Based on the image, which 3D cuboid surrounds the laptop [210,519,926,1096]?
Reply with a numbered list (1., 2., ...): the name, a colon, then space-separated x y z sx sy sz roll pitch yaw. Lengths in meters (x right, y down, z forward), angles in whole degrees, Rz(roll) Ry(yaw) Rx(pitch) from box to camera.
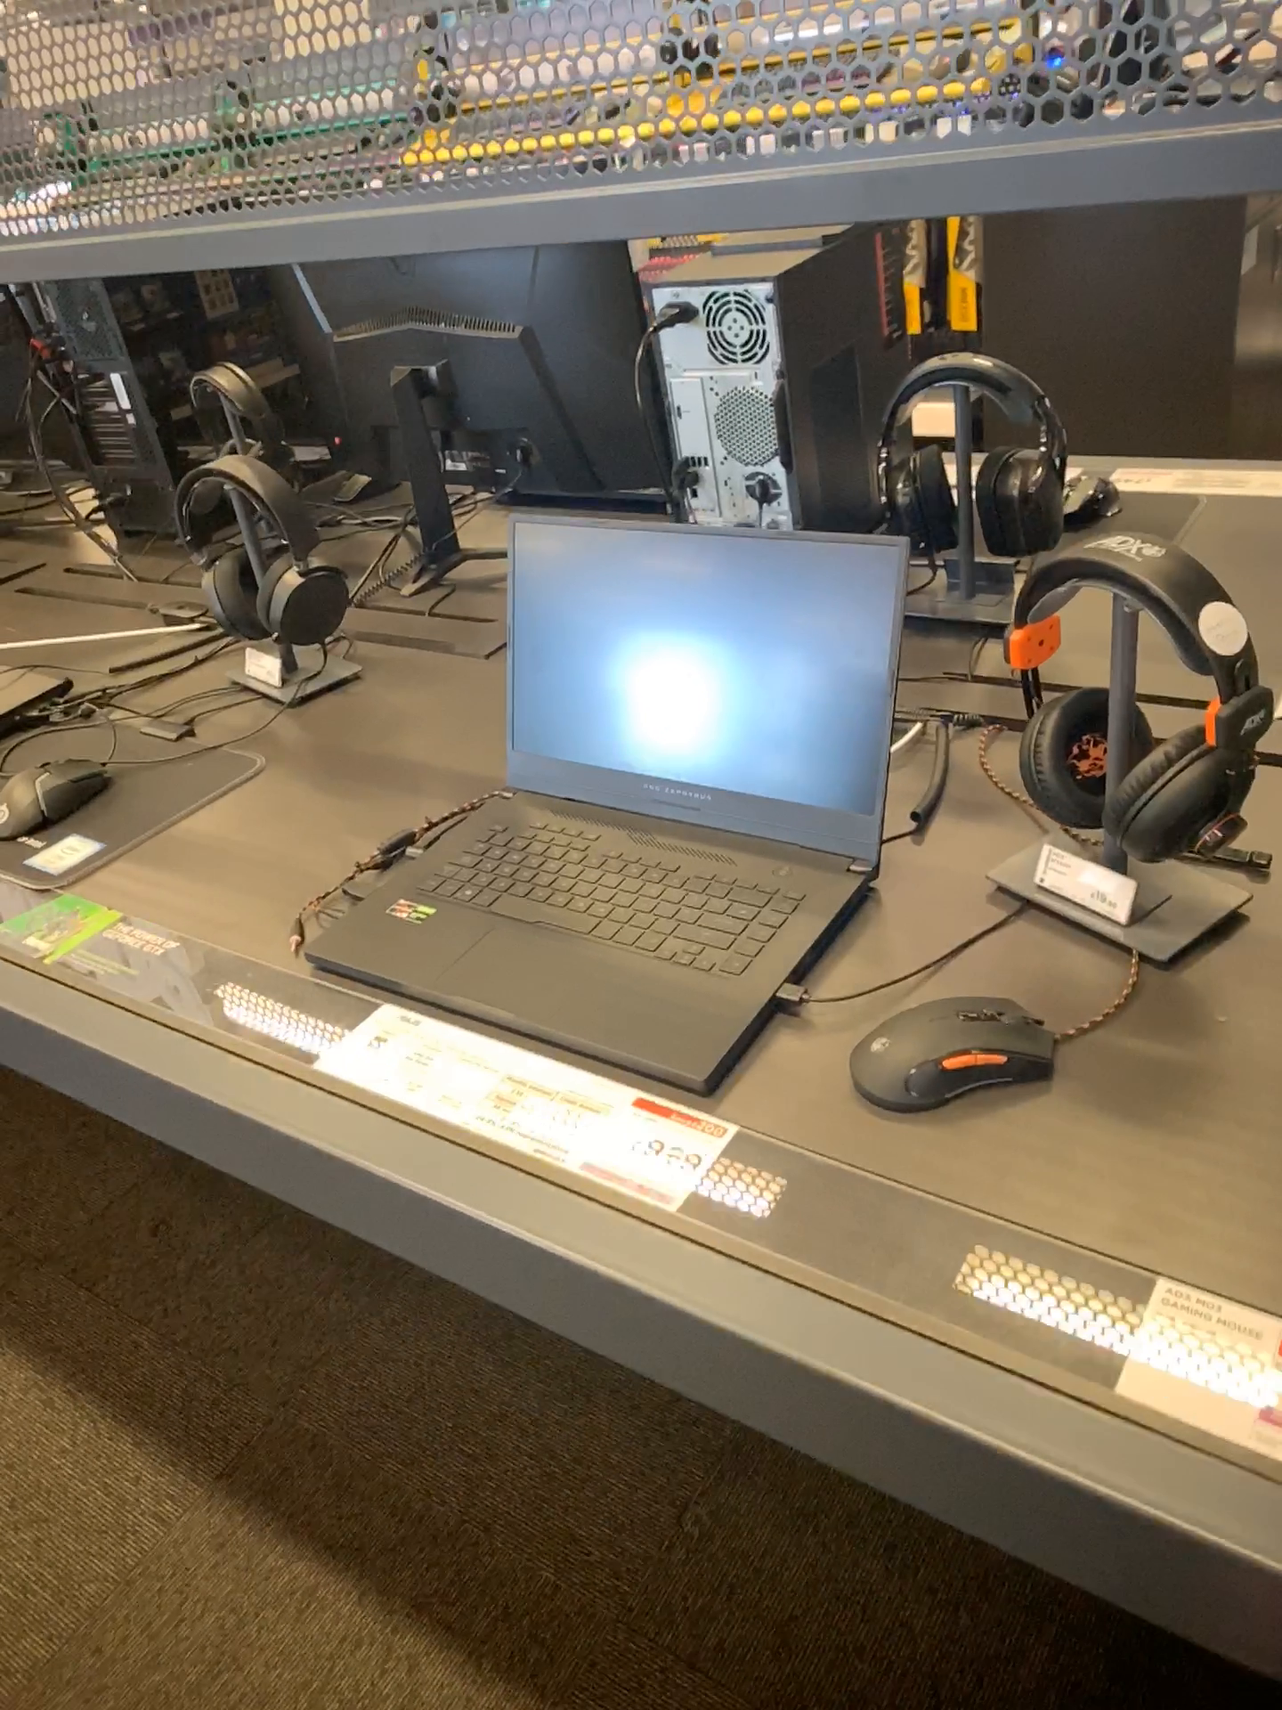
1. laptop: -0.033 -0.064 0.921 0.349 0.203 0.325 13 40 32
